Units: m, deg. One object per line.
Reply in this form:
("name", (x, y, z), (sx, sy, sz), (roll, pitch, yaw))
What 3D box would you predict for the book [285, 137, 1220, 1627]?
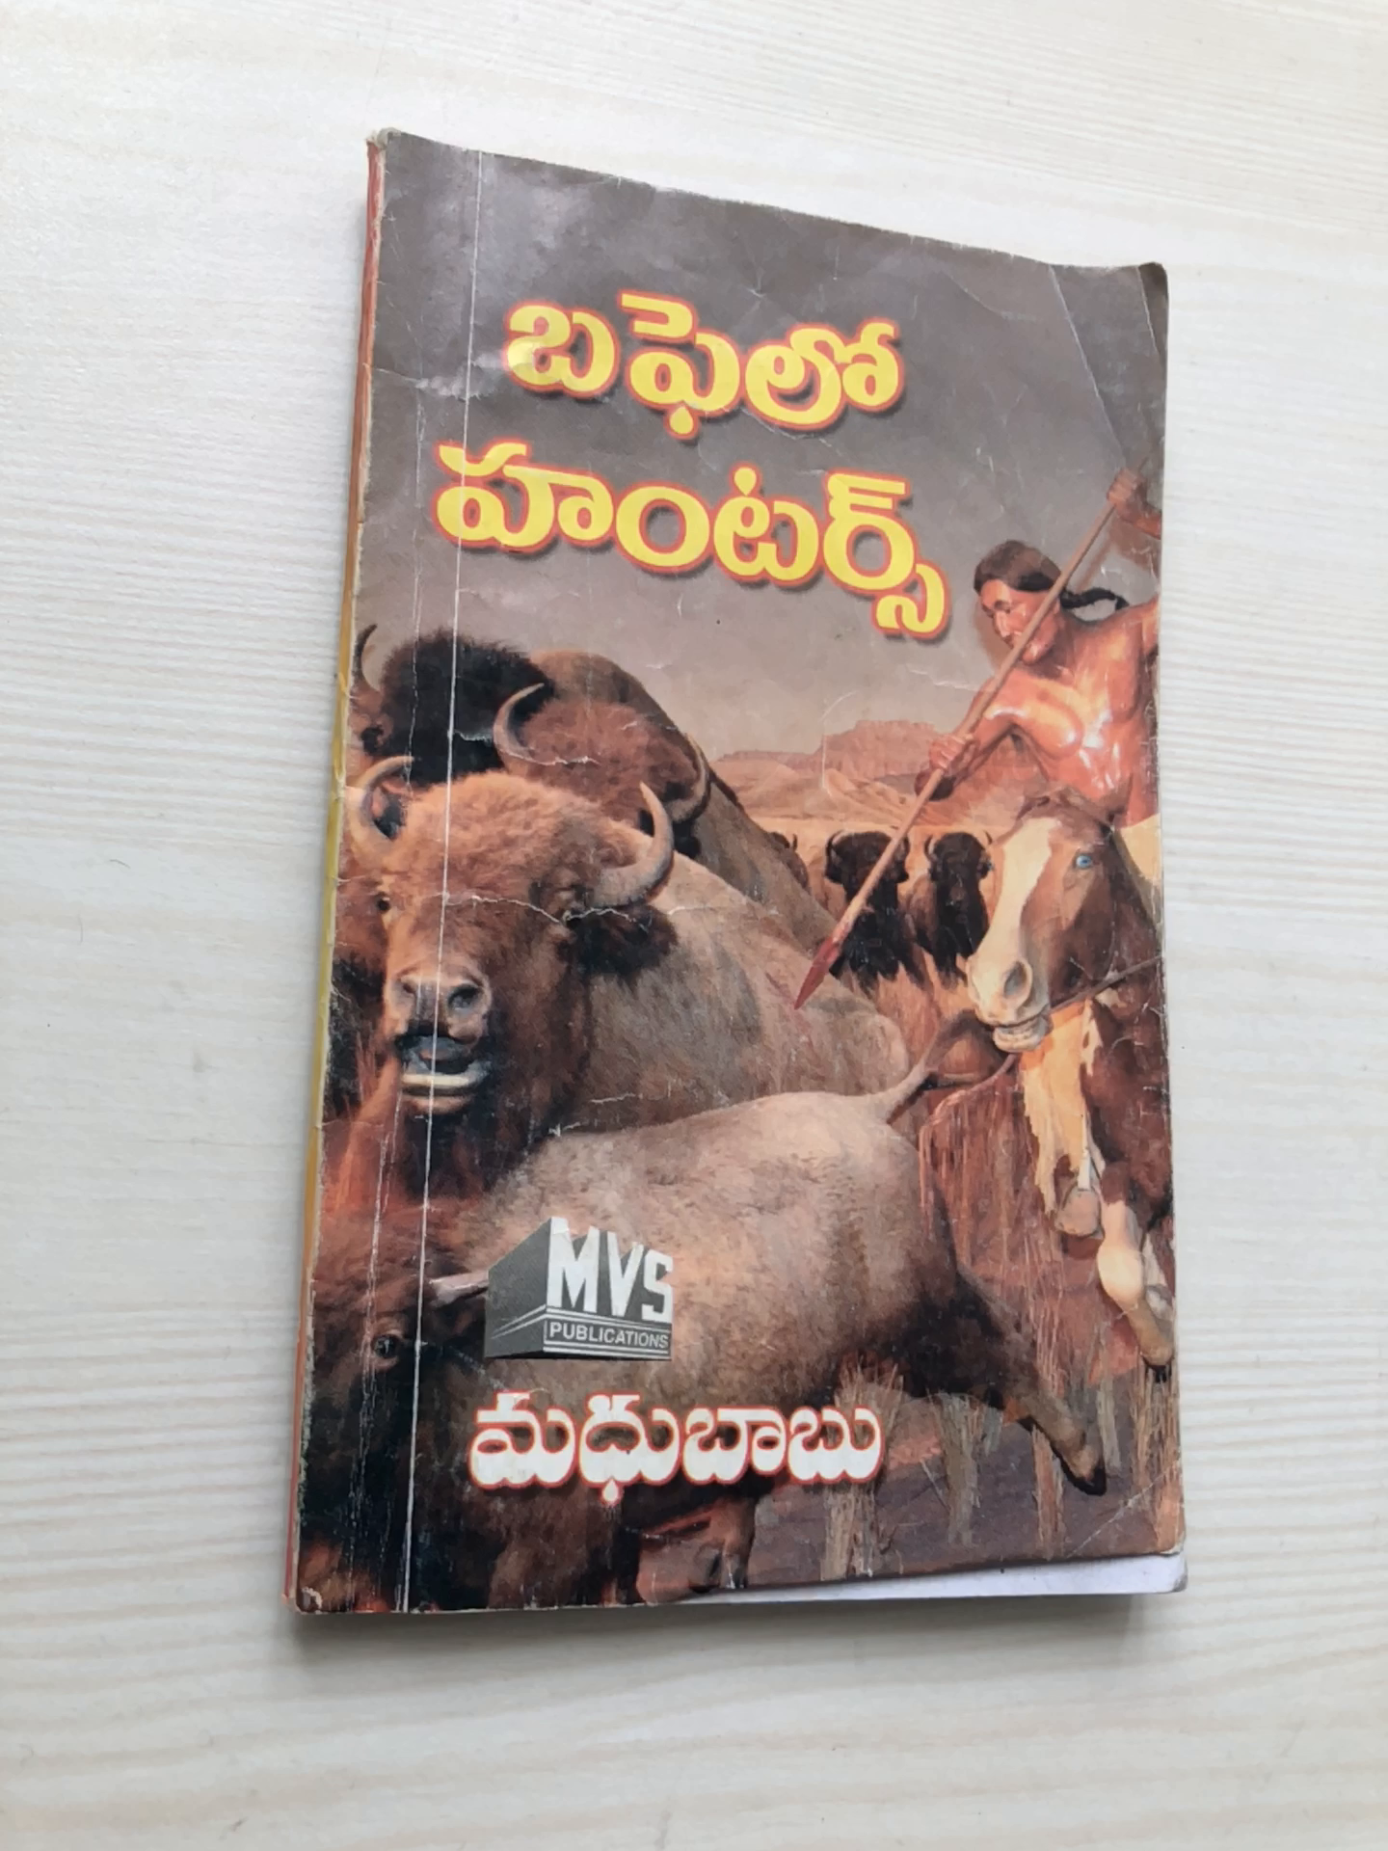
("book", (0.009, -0.004, 0.178), (0.100, 0.020, 0.150), (3, 86, -14))
